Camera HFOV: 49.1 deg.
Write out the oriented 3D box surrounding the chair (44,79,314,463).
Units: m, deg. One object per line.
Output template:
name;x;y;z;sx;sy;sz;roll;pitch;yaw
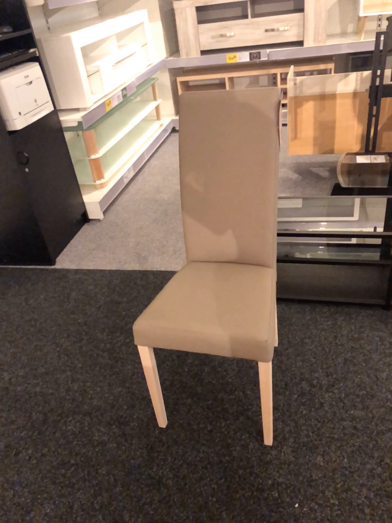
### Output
chair;0.068;0.014;1.353;0.529;0.945;0.634;3;34;17
